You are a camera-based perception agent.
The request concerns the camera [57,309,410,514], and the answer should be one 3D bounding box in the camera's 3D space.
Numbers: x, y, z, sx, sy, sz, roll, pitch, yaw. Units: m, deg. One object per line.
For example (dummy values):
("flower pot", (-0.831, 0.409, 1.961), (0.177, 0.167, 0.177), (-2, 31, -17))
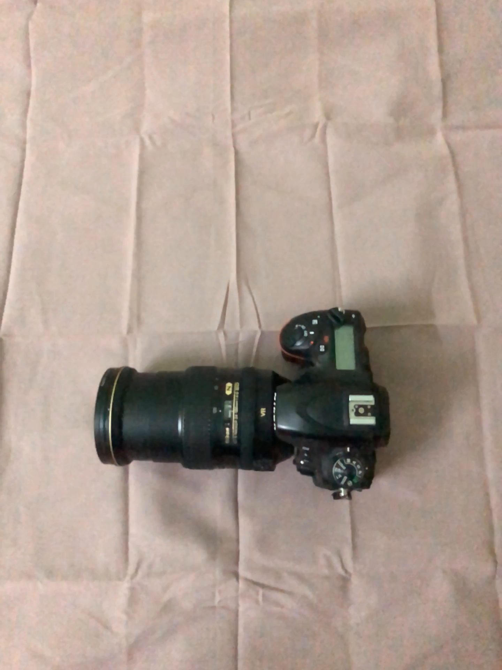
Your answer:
("camera", (-0.010, 0.063, 0.436), (0.231, 0.110, 0.139), (0, 75, 2))
